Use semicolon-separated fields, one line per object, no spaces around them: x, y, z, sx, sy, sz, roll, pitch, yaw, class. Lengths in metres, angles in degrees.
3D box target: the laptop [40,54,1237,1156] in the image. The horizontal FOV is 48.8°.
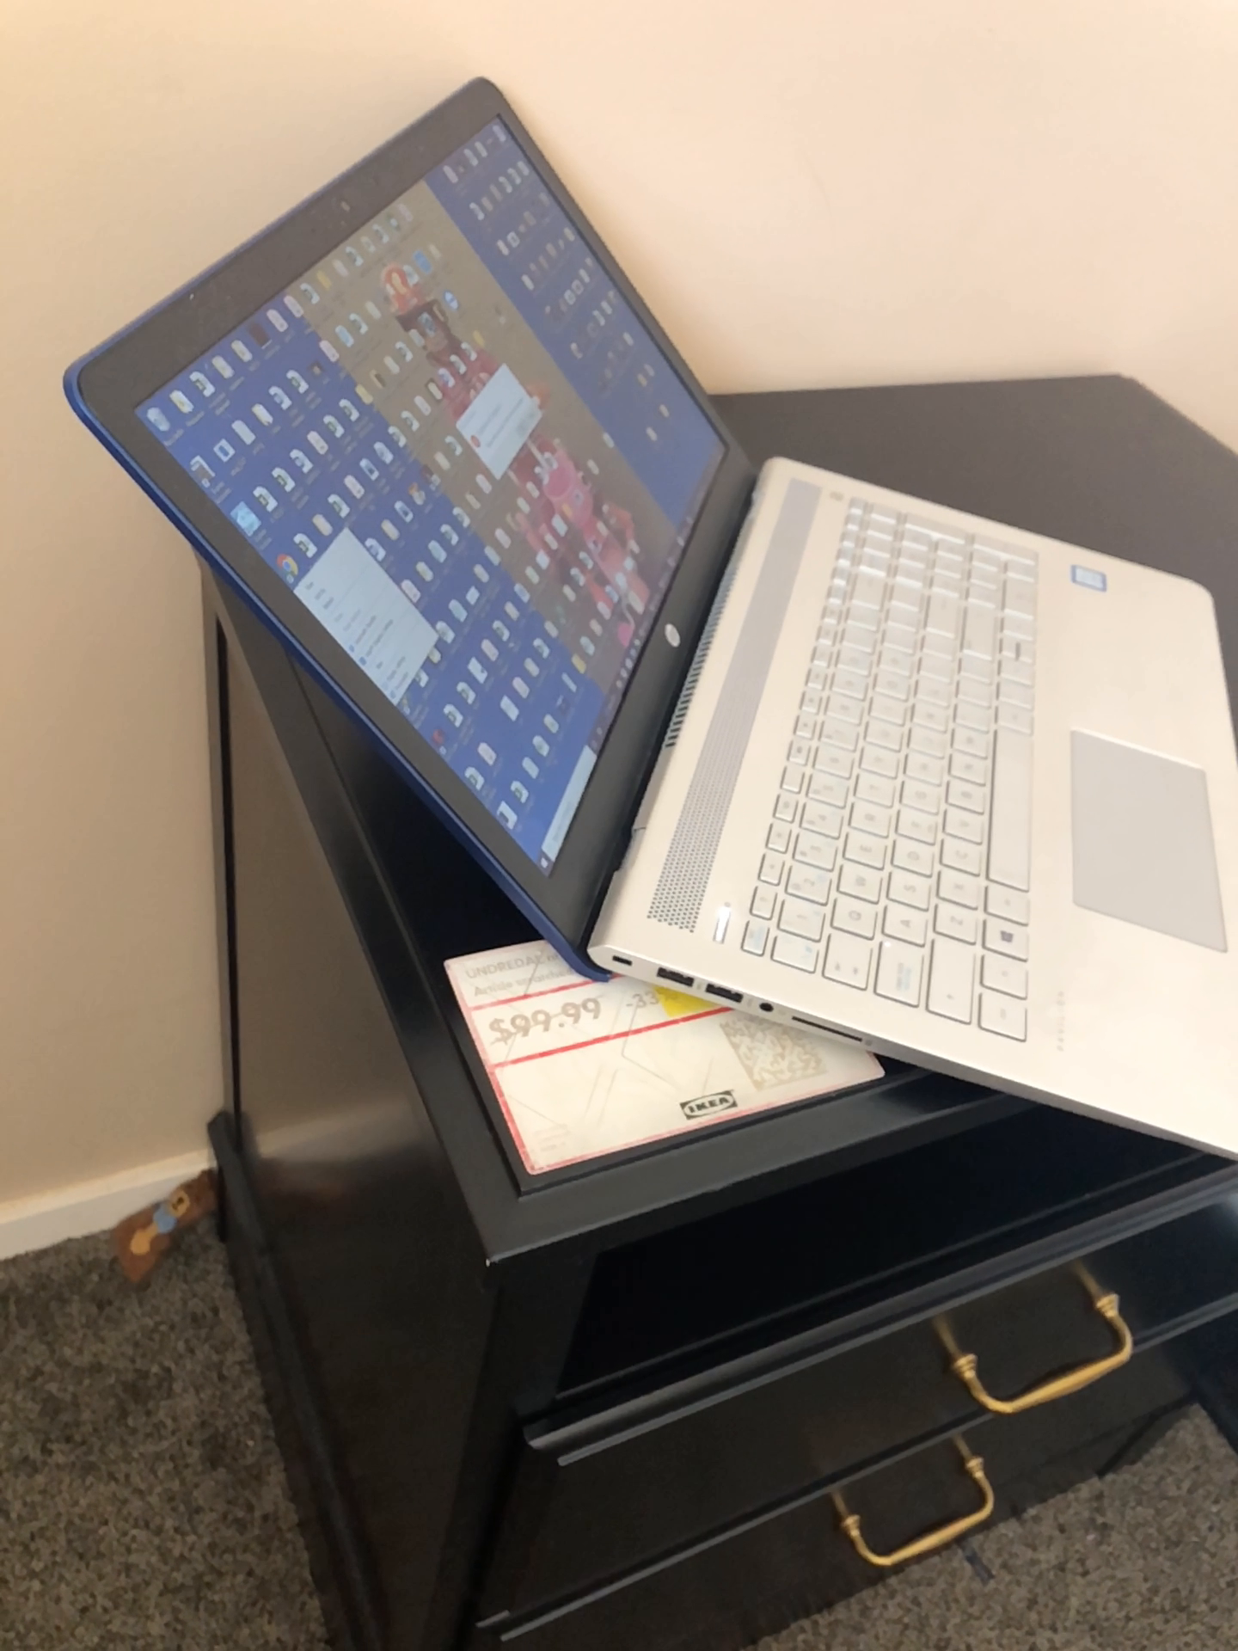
0.072;-0.125;0.526;0.400;0.141;0.368;18;42;2;laptop
